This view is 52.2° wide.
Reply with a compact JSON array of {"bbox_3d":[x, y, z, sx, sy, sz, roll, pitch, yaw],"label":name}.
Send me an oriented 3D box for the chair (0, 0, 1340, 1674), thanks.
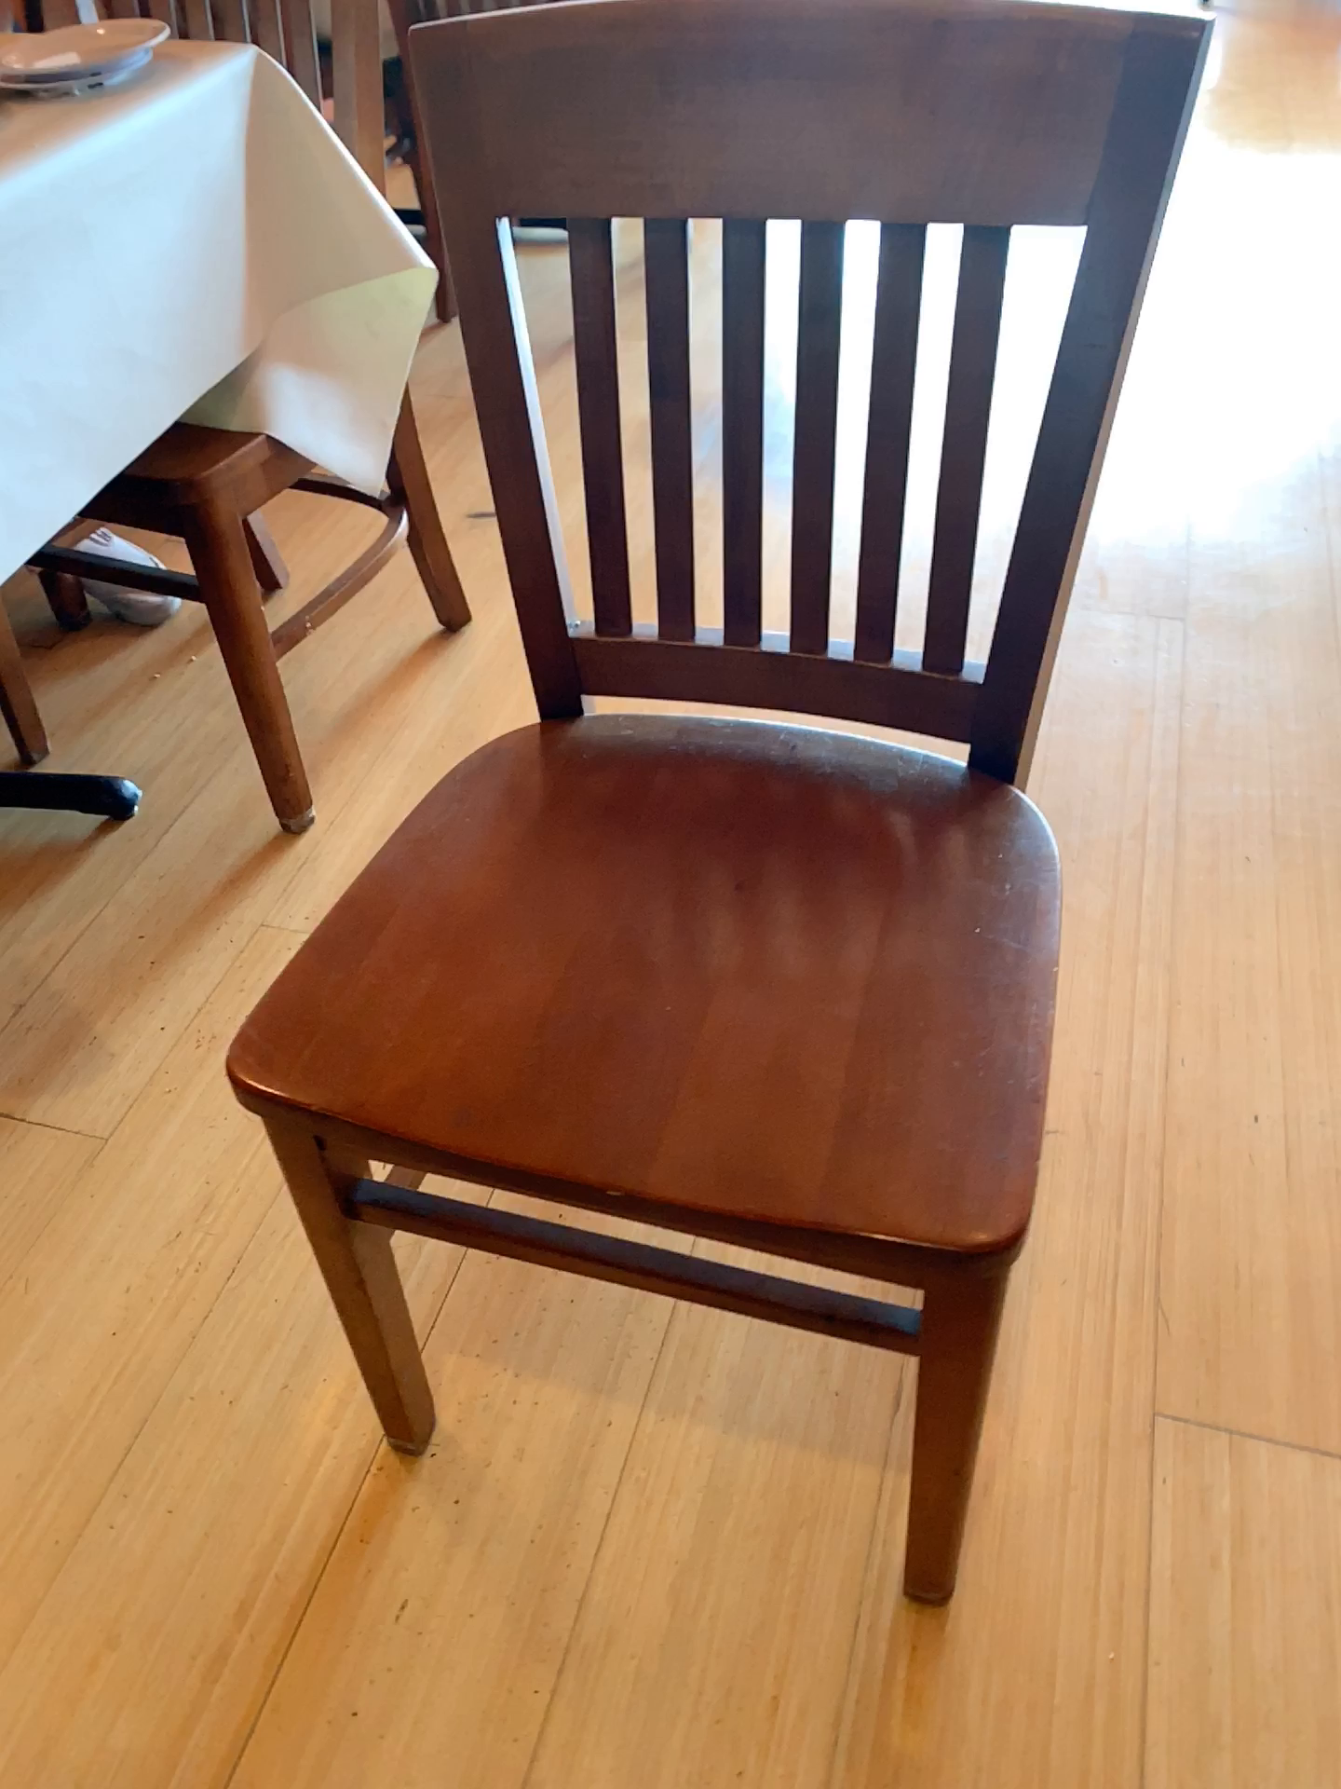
[{"bbox_3d":[0.036,-0.032,0.891,0.541,0.875,0.572,9,44,15],"label":"chair"}]
